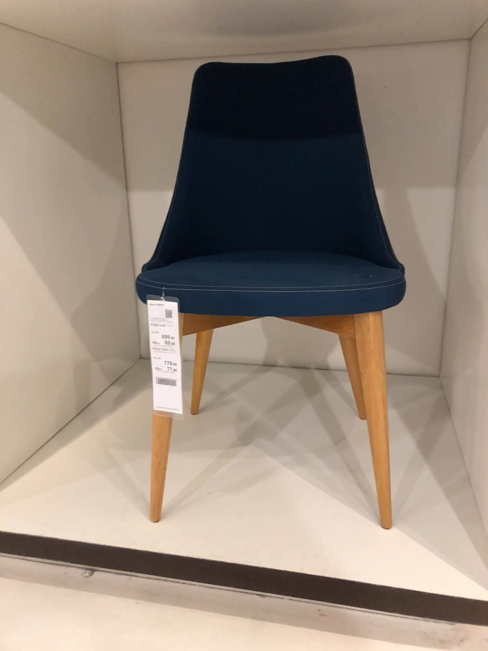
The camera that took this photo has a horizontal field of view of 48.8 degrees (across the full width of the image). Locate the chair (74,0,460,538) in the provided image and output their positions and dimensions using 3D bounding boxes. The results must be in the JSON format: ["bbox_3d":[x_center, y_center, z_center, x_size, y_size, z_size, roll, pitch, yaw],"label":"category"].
[{"bbox_3d":[0.065,-0.124,1.095,0.520,0.865,0.523,0,17,7],"label":"chair"}]
